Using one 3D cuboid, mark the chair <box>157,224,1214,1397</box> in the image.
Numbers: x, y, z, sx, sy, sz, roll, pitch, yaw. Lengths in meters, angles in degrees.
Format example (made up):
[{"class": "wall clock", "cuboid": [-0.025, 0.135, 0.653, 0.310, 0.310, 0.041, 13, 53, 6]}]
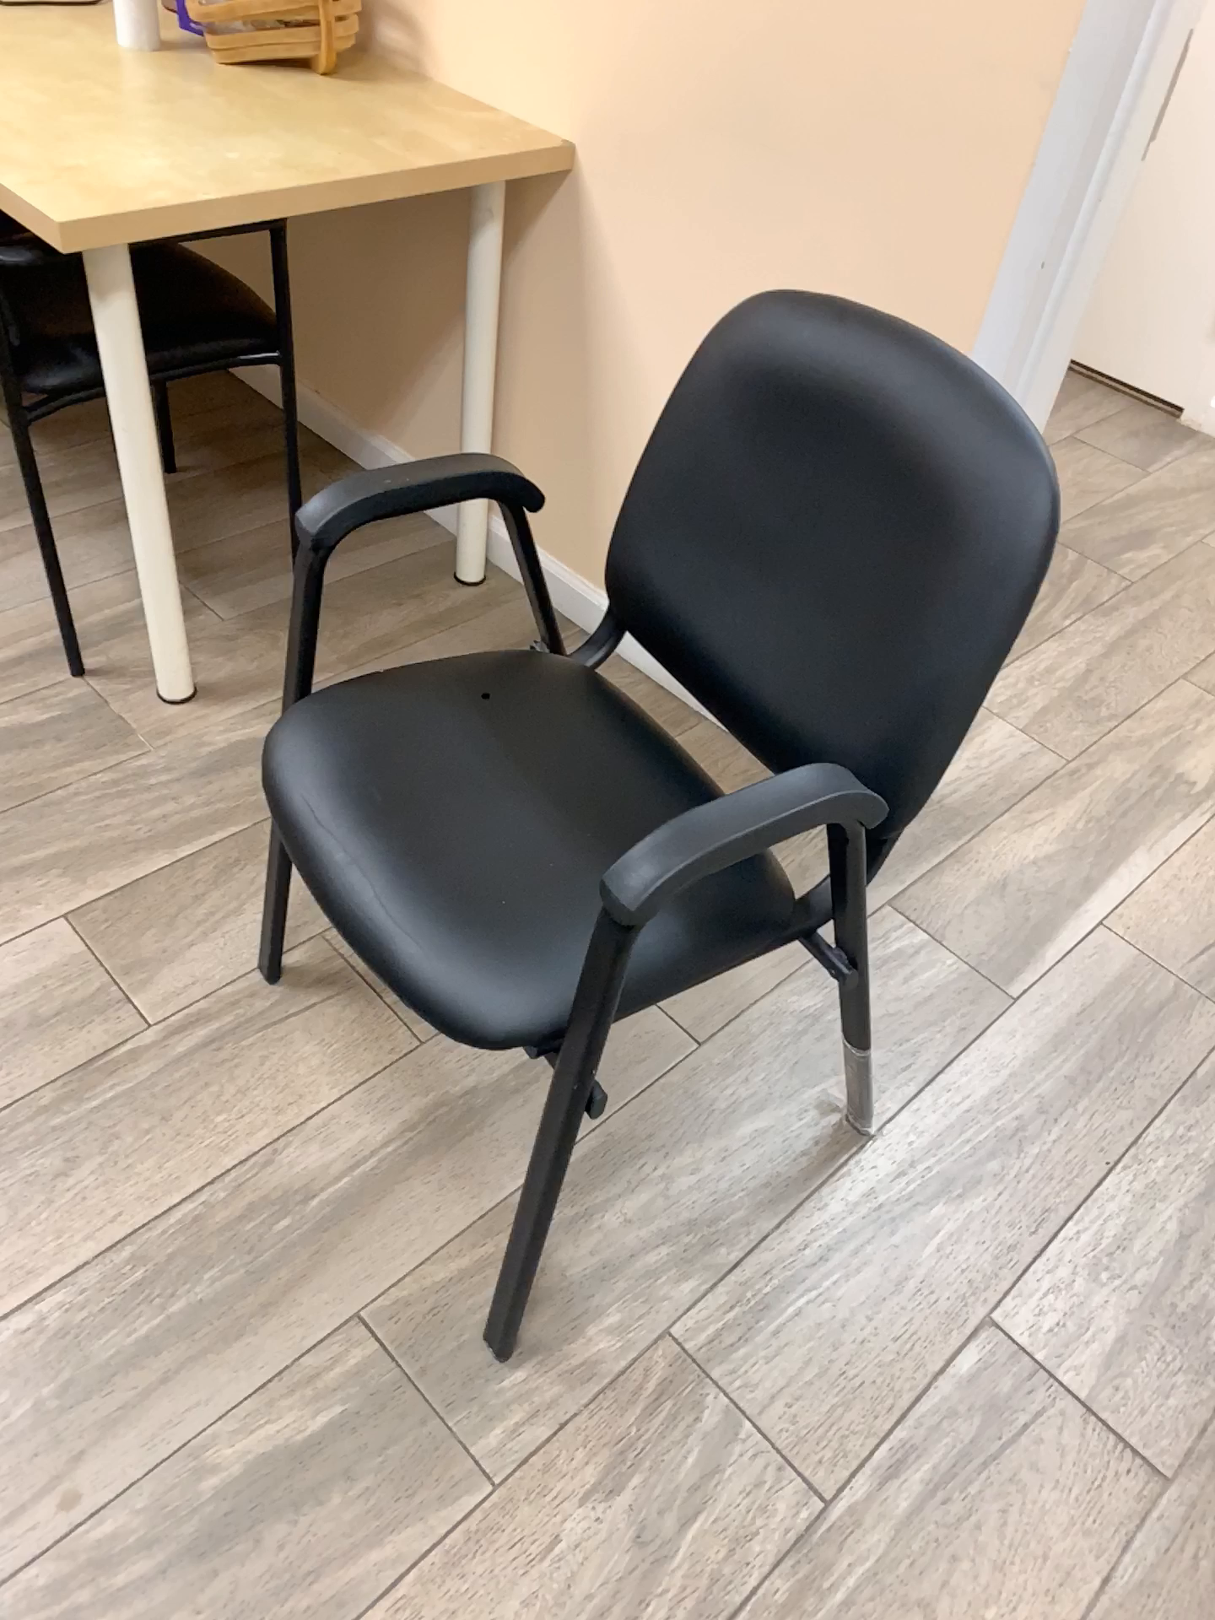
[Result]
[{"class": "chair", "cuboid": [0.017, -0.018, 1.213, 0.606, 0.817, 0.607, -20, 50, -28]}]
